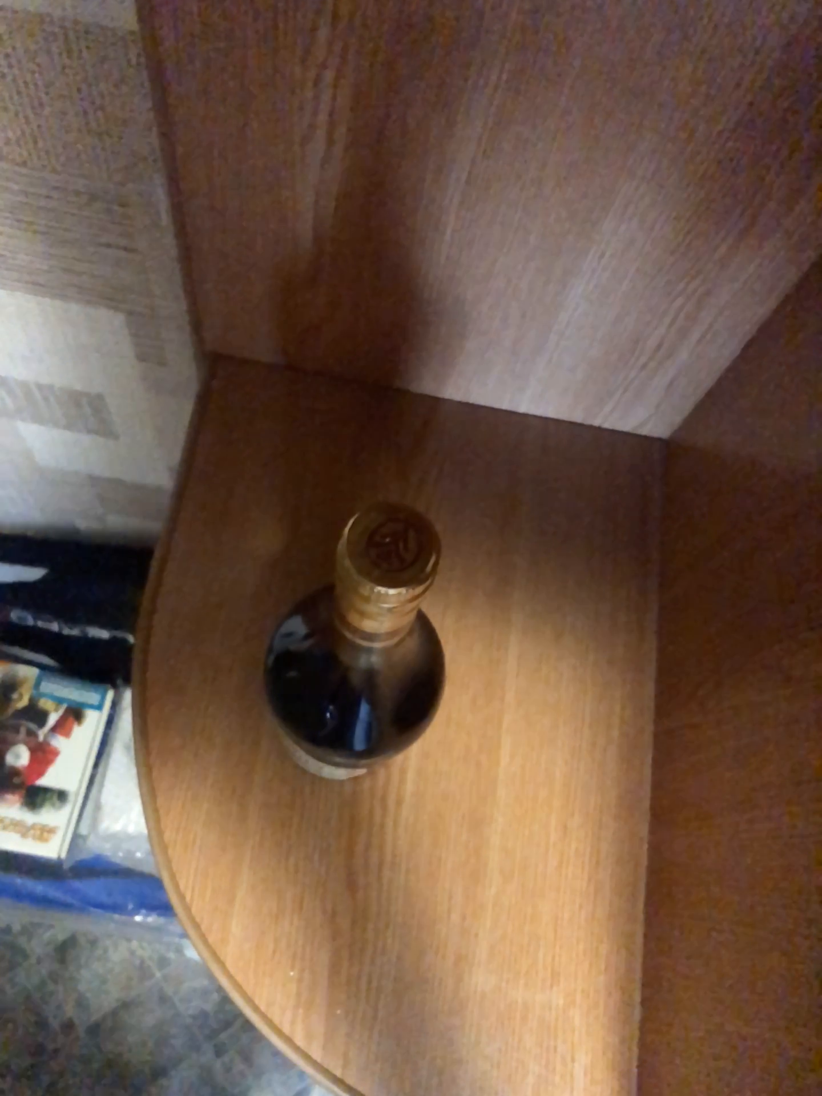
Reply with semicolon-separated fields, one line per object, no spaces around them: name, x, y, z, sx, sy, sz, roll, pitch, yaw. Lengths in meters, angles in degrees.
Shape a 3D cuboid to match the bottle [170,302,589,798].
bottle;-0.024;0.025;0.372;0.080;0.245;0.090;-37;78;-20
